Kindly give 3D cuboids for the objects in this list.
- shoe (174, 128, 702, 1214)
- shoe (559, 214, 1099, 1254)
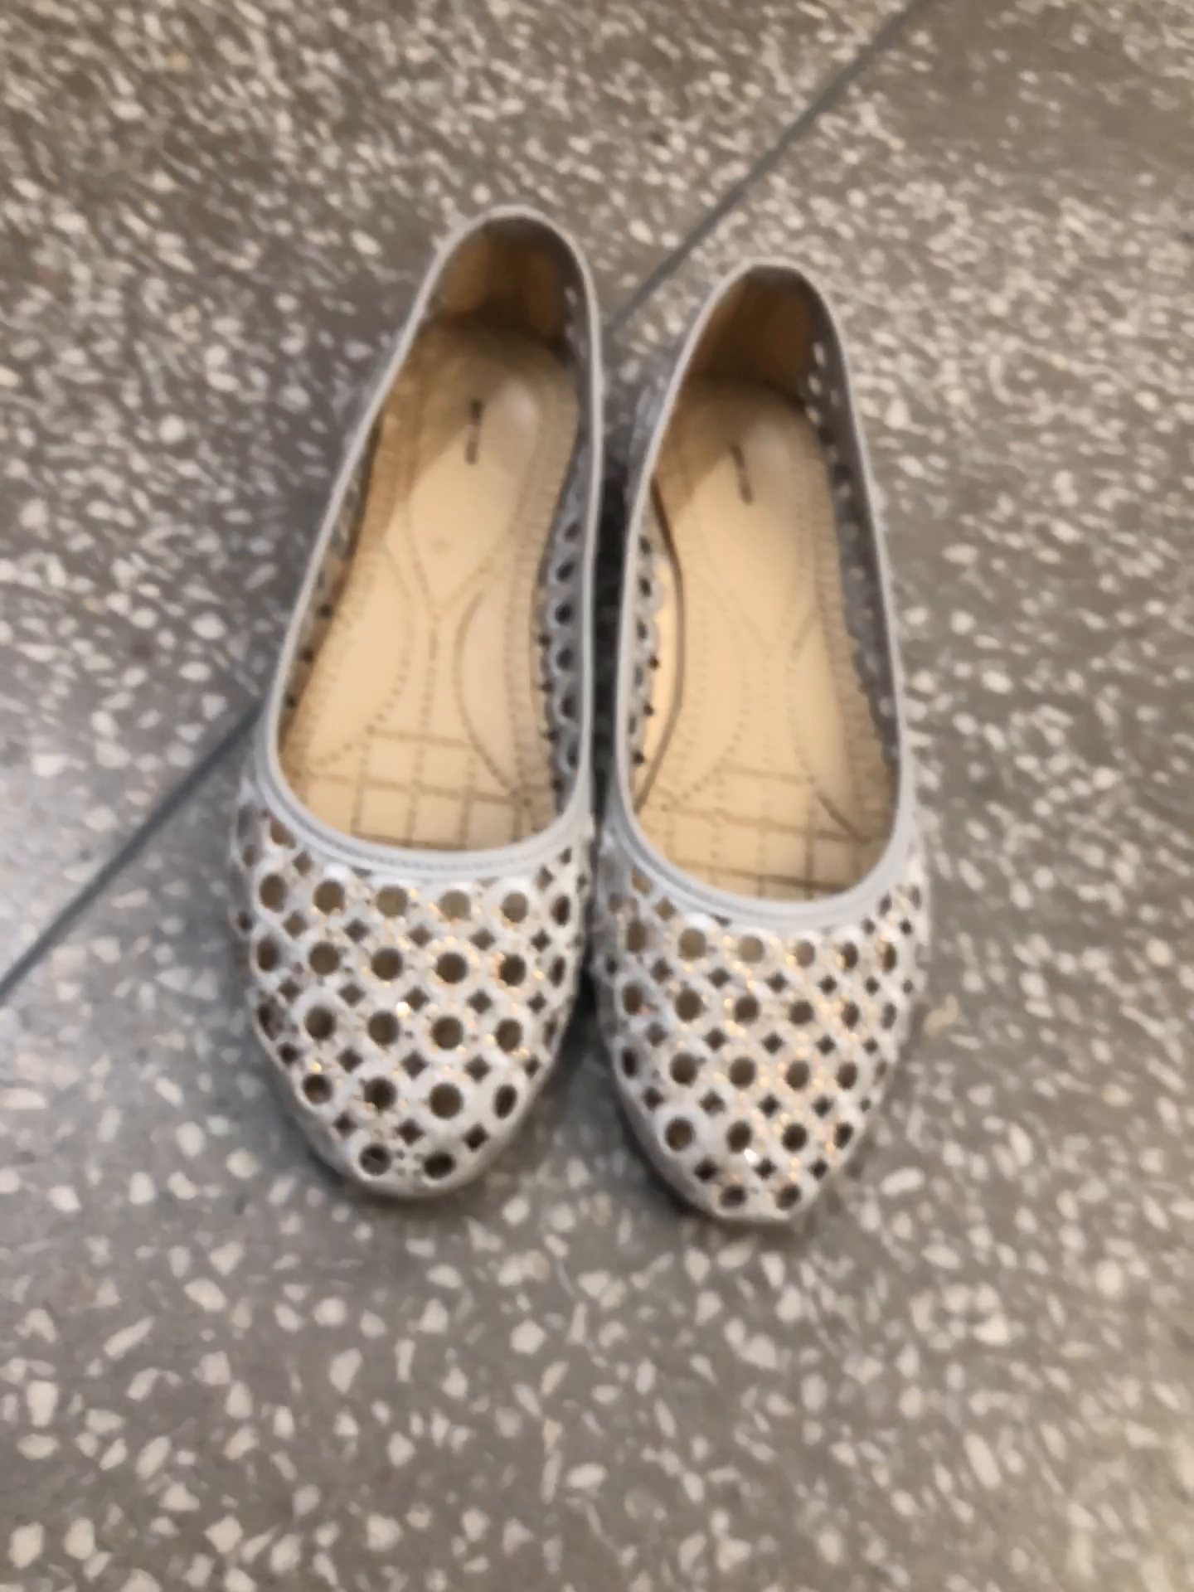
[{"bbox_3d":[-0.030,-0.033,0.317,0.093,0.070,0.240,7,66,-11],"label":"shoe"},{"bbox_3d":[0.048,-0.019,0.332,0.093,0.070,0.240,7,66,-11],"label":"shoe"}]
